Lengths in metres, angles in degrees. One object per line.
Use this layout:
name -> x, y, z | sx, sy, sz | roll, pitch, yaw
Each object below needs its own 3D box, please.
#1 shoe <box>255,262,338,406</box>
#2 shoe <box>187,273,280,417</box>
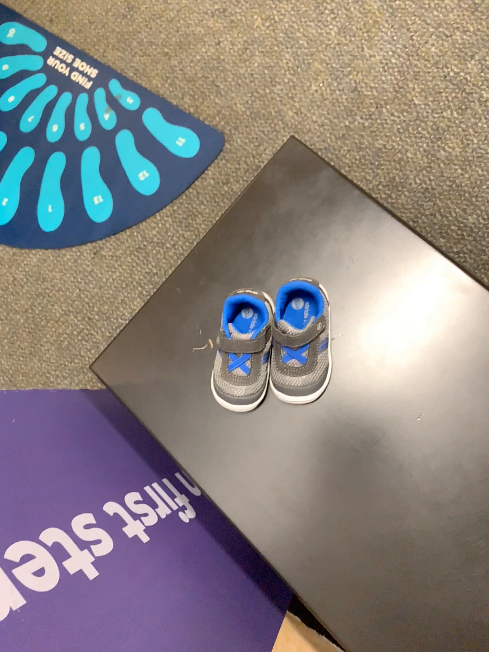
shoe -> 0.056, 0.009, 0.527 | 0.070, 0.060, 0.140 | 2, 84, 15
shoe -> -0.009, 0.021, 0.539 | 0.070, 0.060, 0.140 | 5, 85, 15
